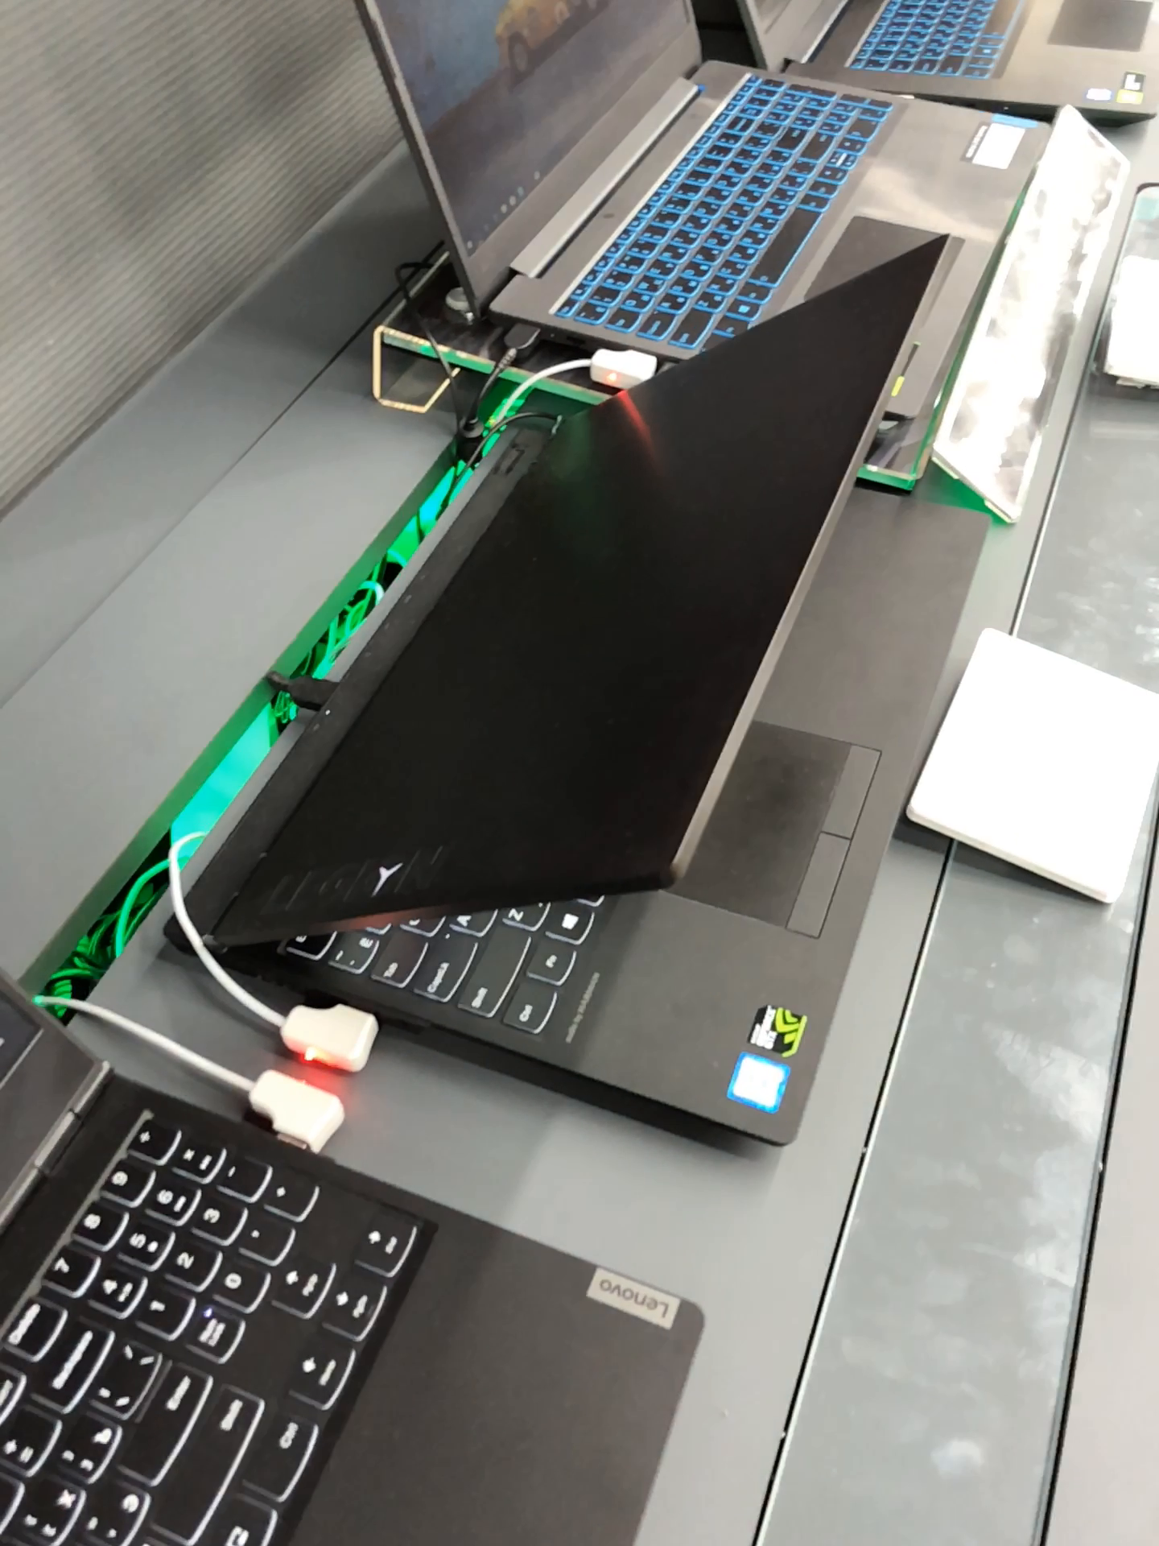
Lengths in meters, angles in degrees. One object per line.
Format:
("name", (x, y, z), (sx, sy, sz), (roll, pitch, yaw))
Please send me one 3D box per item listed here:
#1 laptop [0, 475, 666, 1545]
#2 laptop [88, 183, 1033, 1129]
("laptop", (-0.186, 0.185, 0.250), (0.307, 0.232, 0.365), (17, 54, 18))
("laptop", (0.025, -0.080, 0.516), (0.227, 0.136, 0.354), (15, 52, 18))
